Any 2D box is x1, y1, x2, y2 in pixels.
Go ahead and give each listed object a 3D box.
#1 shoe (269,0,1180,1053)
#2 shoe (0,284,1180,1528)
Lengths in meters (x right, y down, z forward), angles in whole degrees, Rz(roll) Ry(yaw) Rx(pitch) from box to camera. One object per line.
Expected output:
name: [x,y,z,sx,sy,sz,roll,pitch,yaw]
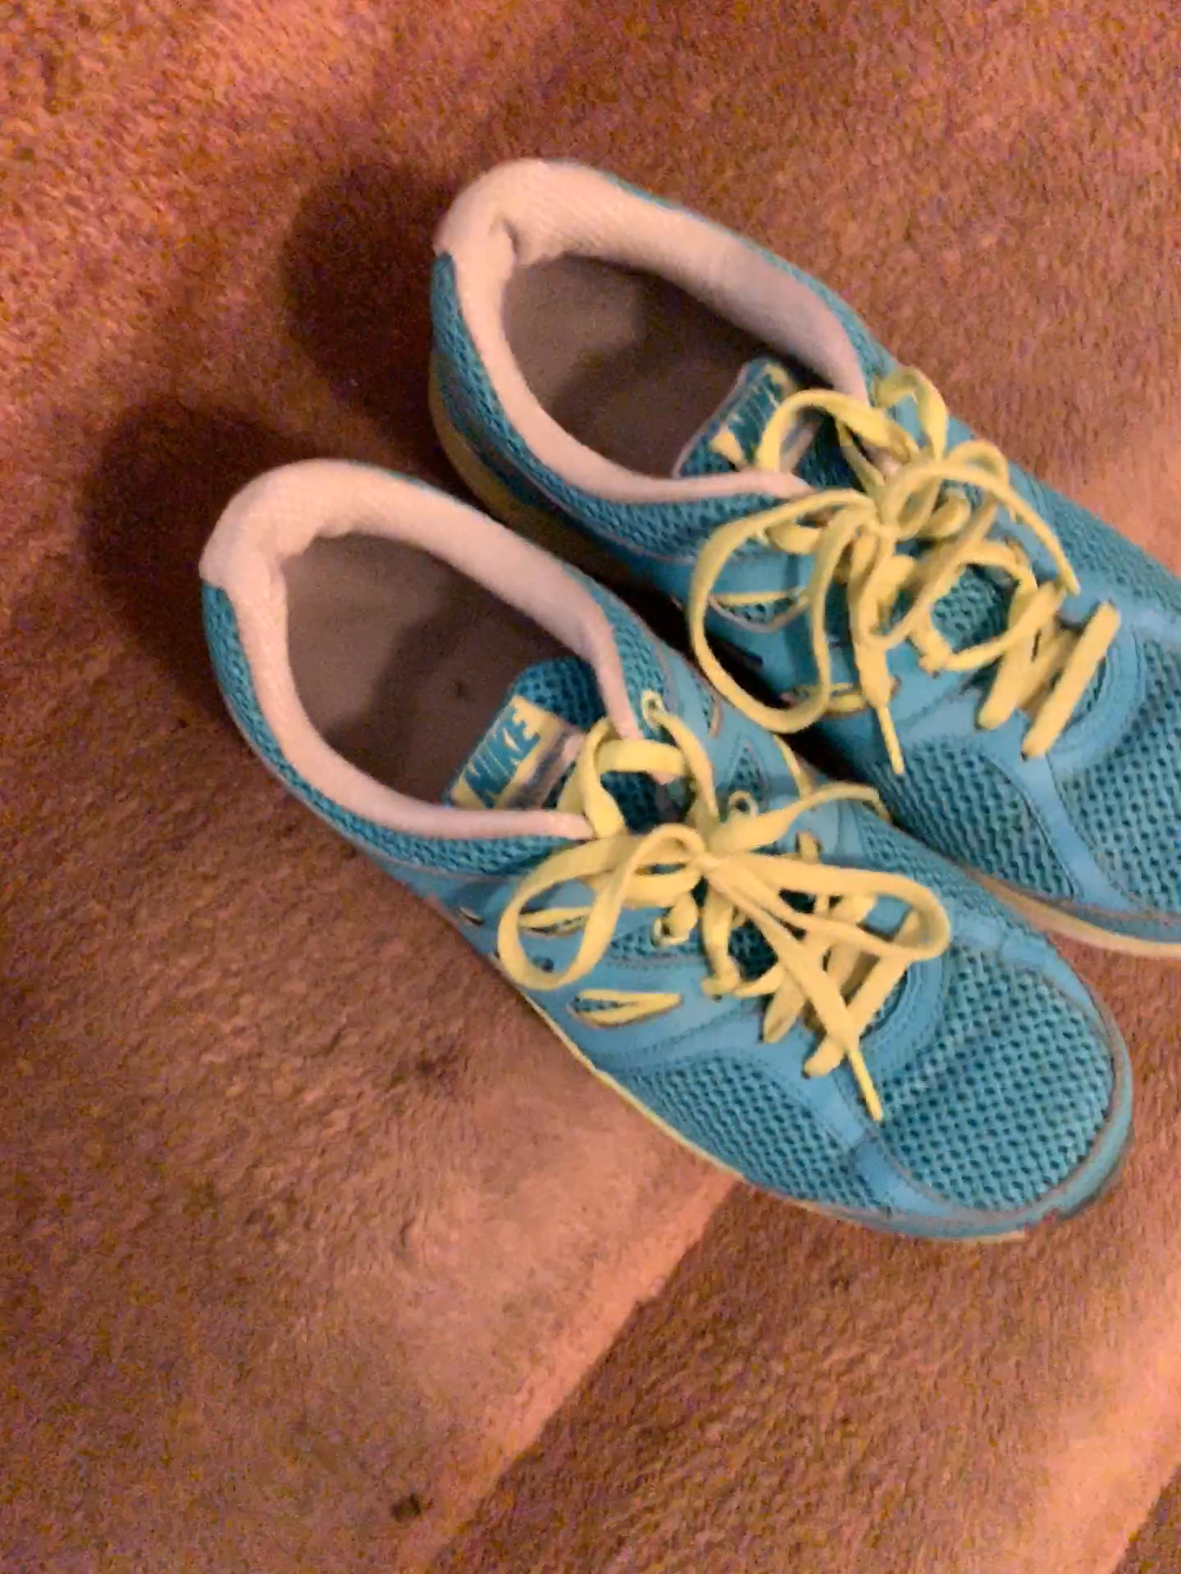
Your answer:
shoe: [0.073,-0.068,0.307,0.280,0.100,0.110,38,84,12]
shoe: [0.009,0.016,0.295,0.280,0.100,0.110,35,83,12]
